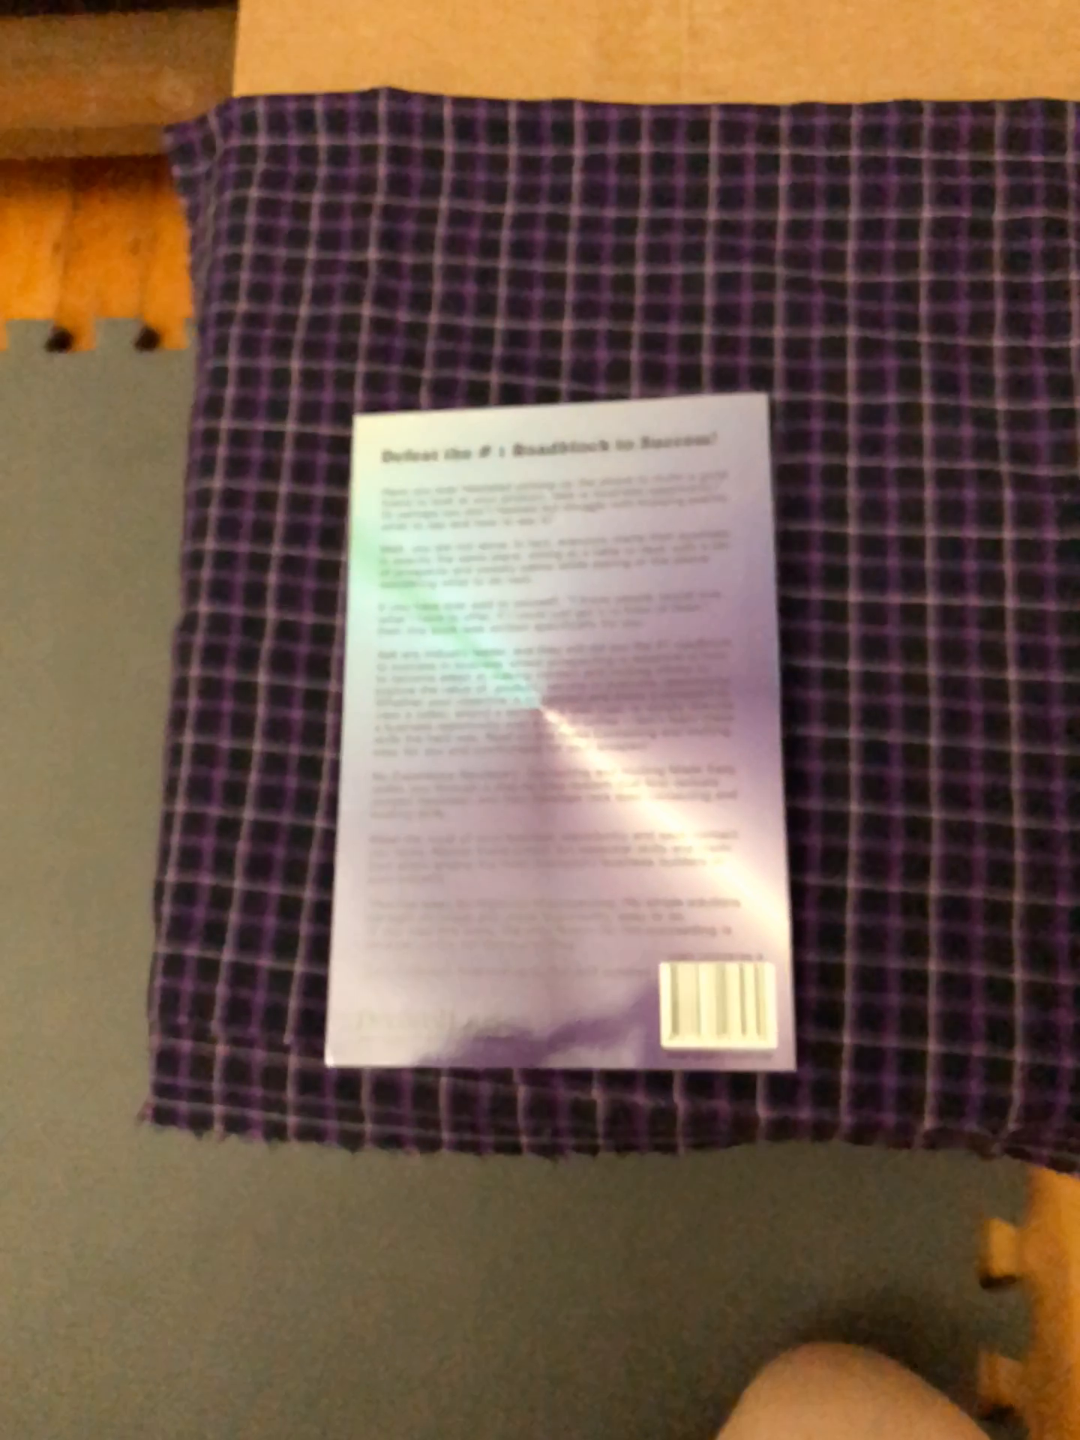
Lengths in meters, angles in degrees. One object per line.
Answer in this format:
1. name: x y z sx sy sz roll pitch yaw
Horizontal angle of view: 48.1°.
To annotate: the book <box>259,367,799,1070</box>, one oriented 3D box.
1. book: -0.004 -0.003 0.389 0.160 0.020 0.220 -2 77 7
